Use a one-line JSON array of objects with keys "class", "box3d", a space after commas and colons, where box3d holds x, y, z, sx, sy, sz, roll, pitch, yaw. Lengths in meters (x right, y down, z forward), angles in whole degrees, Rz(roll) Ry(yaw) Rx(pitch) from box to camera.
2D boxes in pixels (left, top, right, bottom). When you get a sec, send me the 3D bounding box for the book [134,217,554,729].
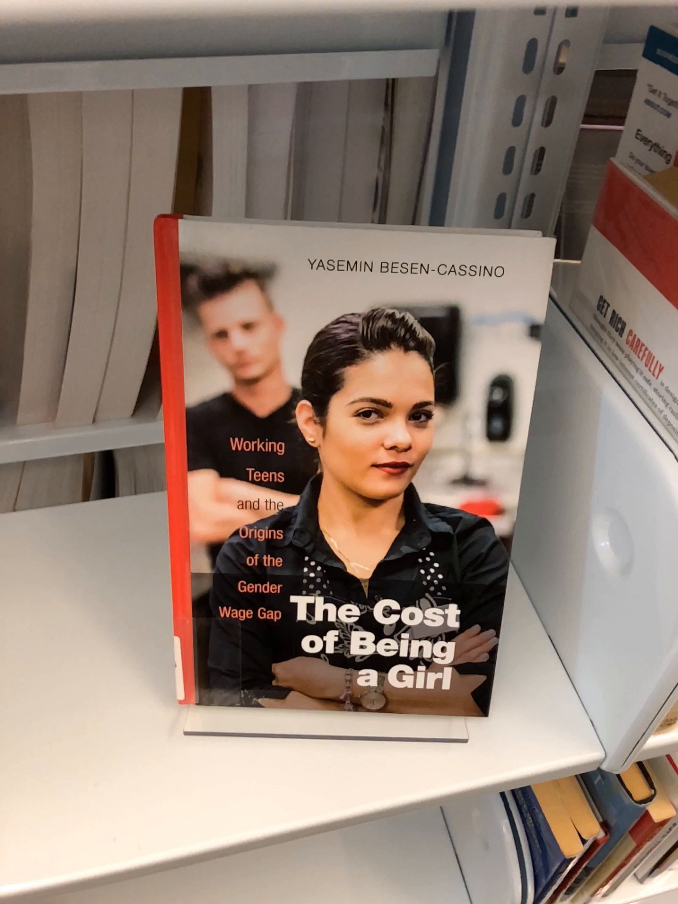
[{"class": "book", "box3d": [-0.002, 0.019, 0.336, 0.156, 0.230, 0.030, 2, 21, -1]}]
